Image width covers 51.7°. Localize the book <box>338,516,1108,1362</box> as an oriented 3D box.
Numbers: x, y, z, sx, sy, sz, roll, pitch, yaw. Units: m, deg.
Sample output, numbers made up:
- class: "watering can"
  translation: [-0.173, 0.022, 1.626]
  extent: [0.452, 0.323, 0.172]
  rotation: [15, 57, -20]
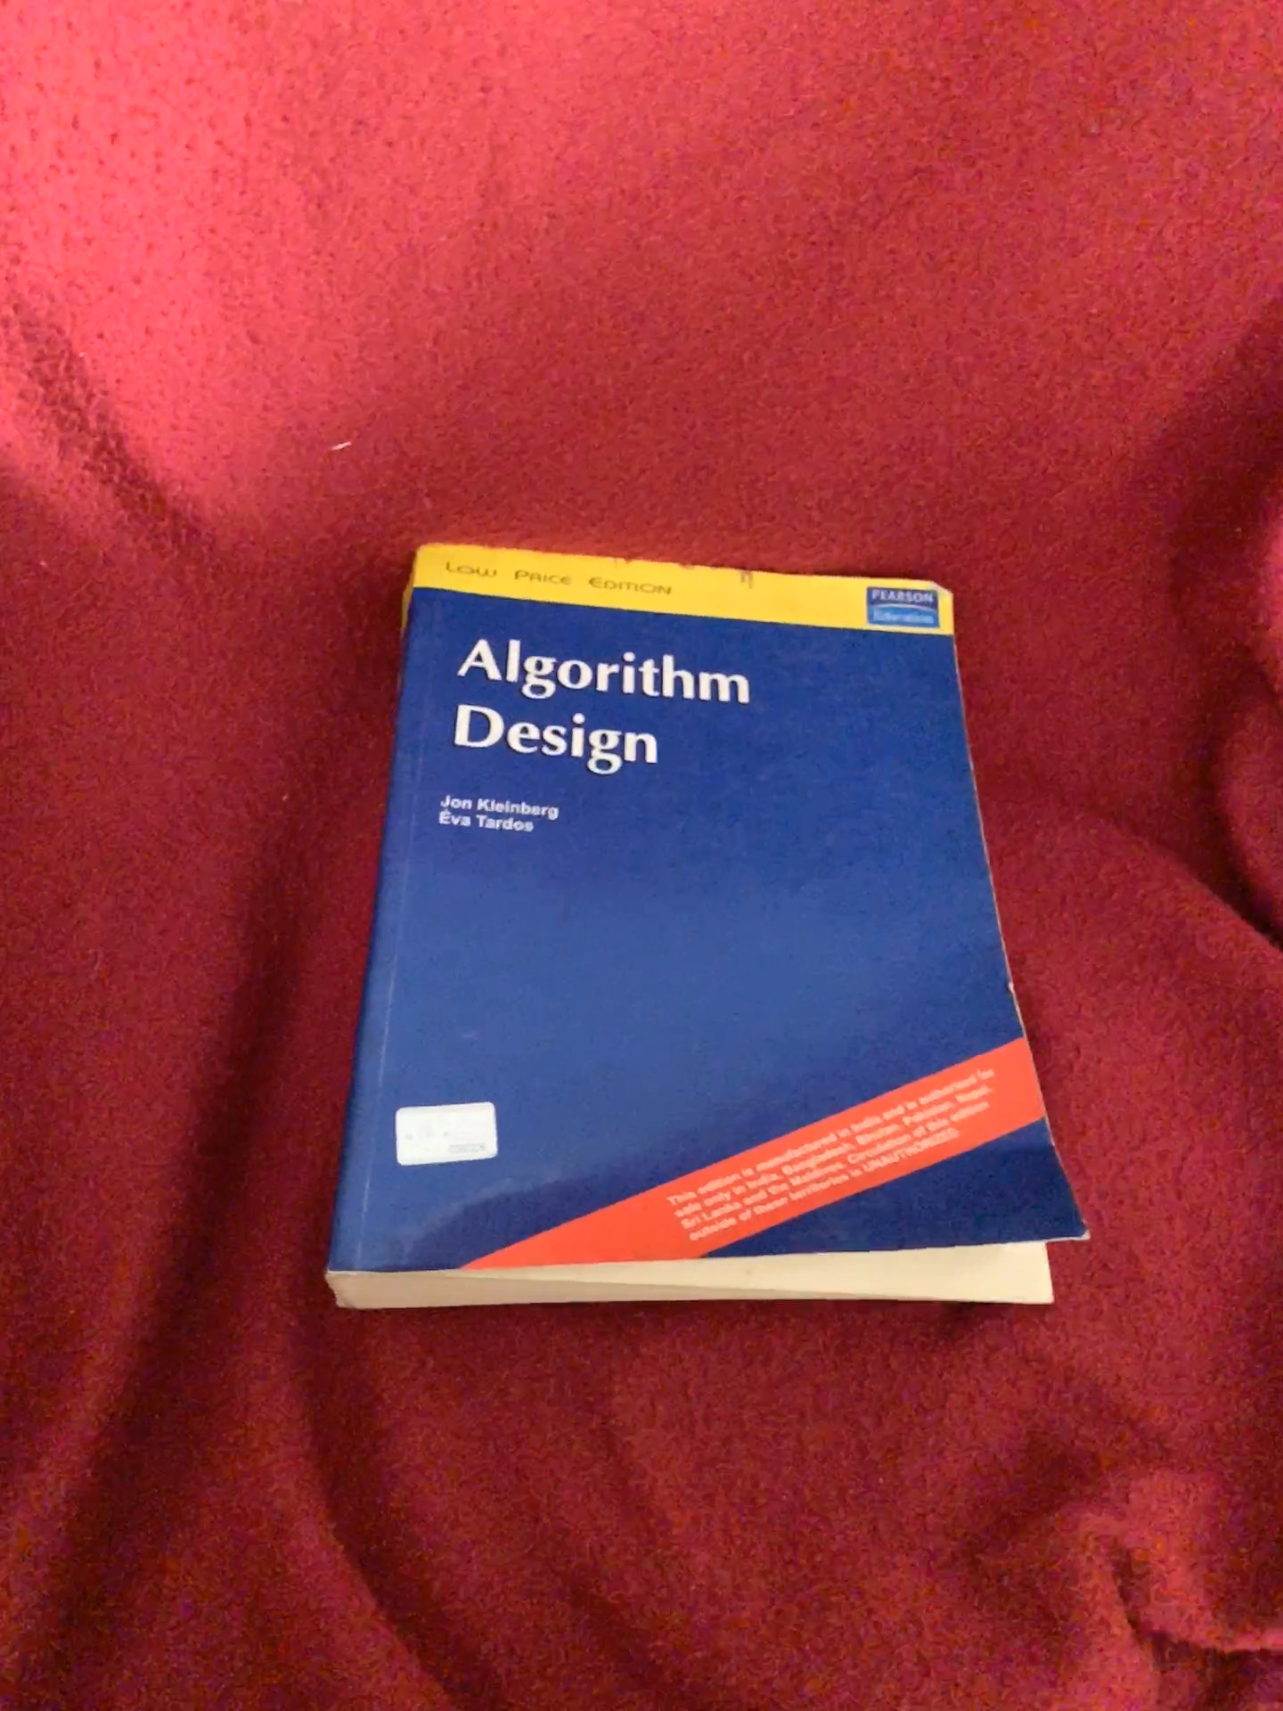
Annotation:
- class: "book"
  translation: [0.017, 0.018, 0.409]
  extent: [0.190, 0.060, 0.251]
  rotation: [4, 59, -9]
